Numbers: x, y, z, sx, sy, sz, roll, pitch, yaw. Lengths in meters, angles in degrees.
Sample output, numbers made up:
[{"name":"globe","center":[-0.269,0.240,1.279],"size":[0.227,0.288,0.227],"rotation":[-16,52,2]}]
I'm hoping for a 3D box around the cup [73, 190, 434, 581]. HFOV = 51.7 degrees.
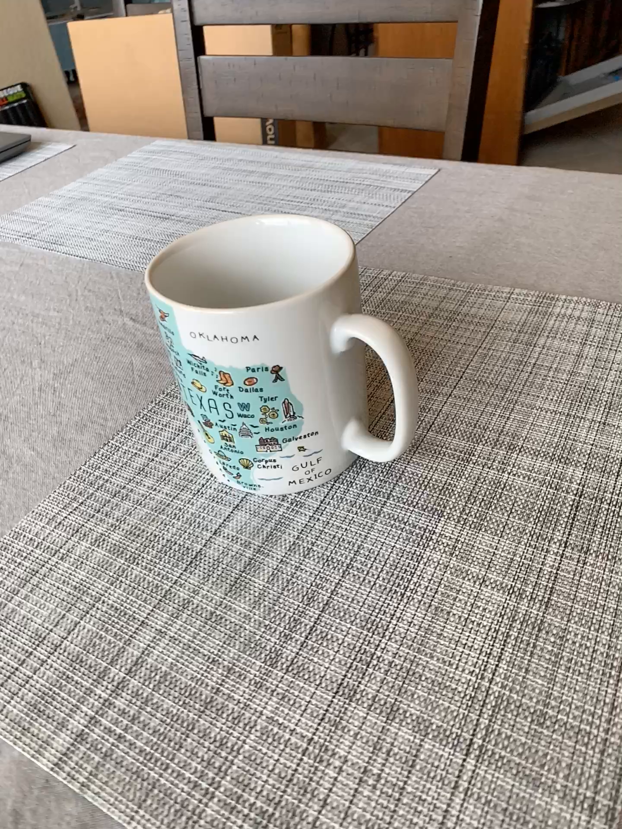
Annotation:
[{"name":"cup","center":[-0.027,-0.025,0.360],"size":[0.111,0.136,0.151],"rotation":[-33,46,-27]}]
